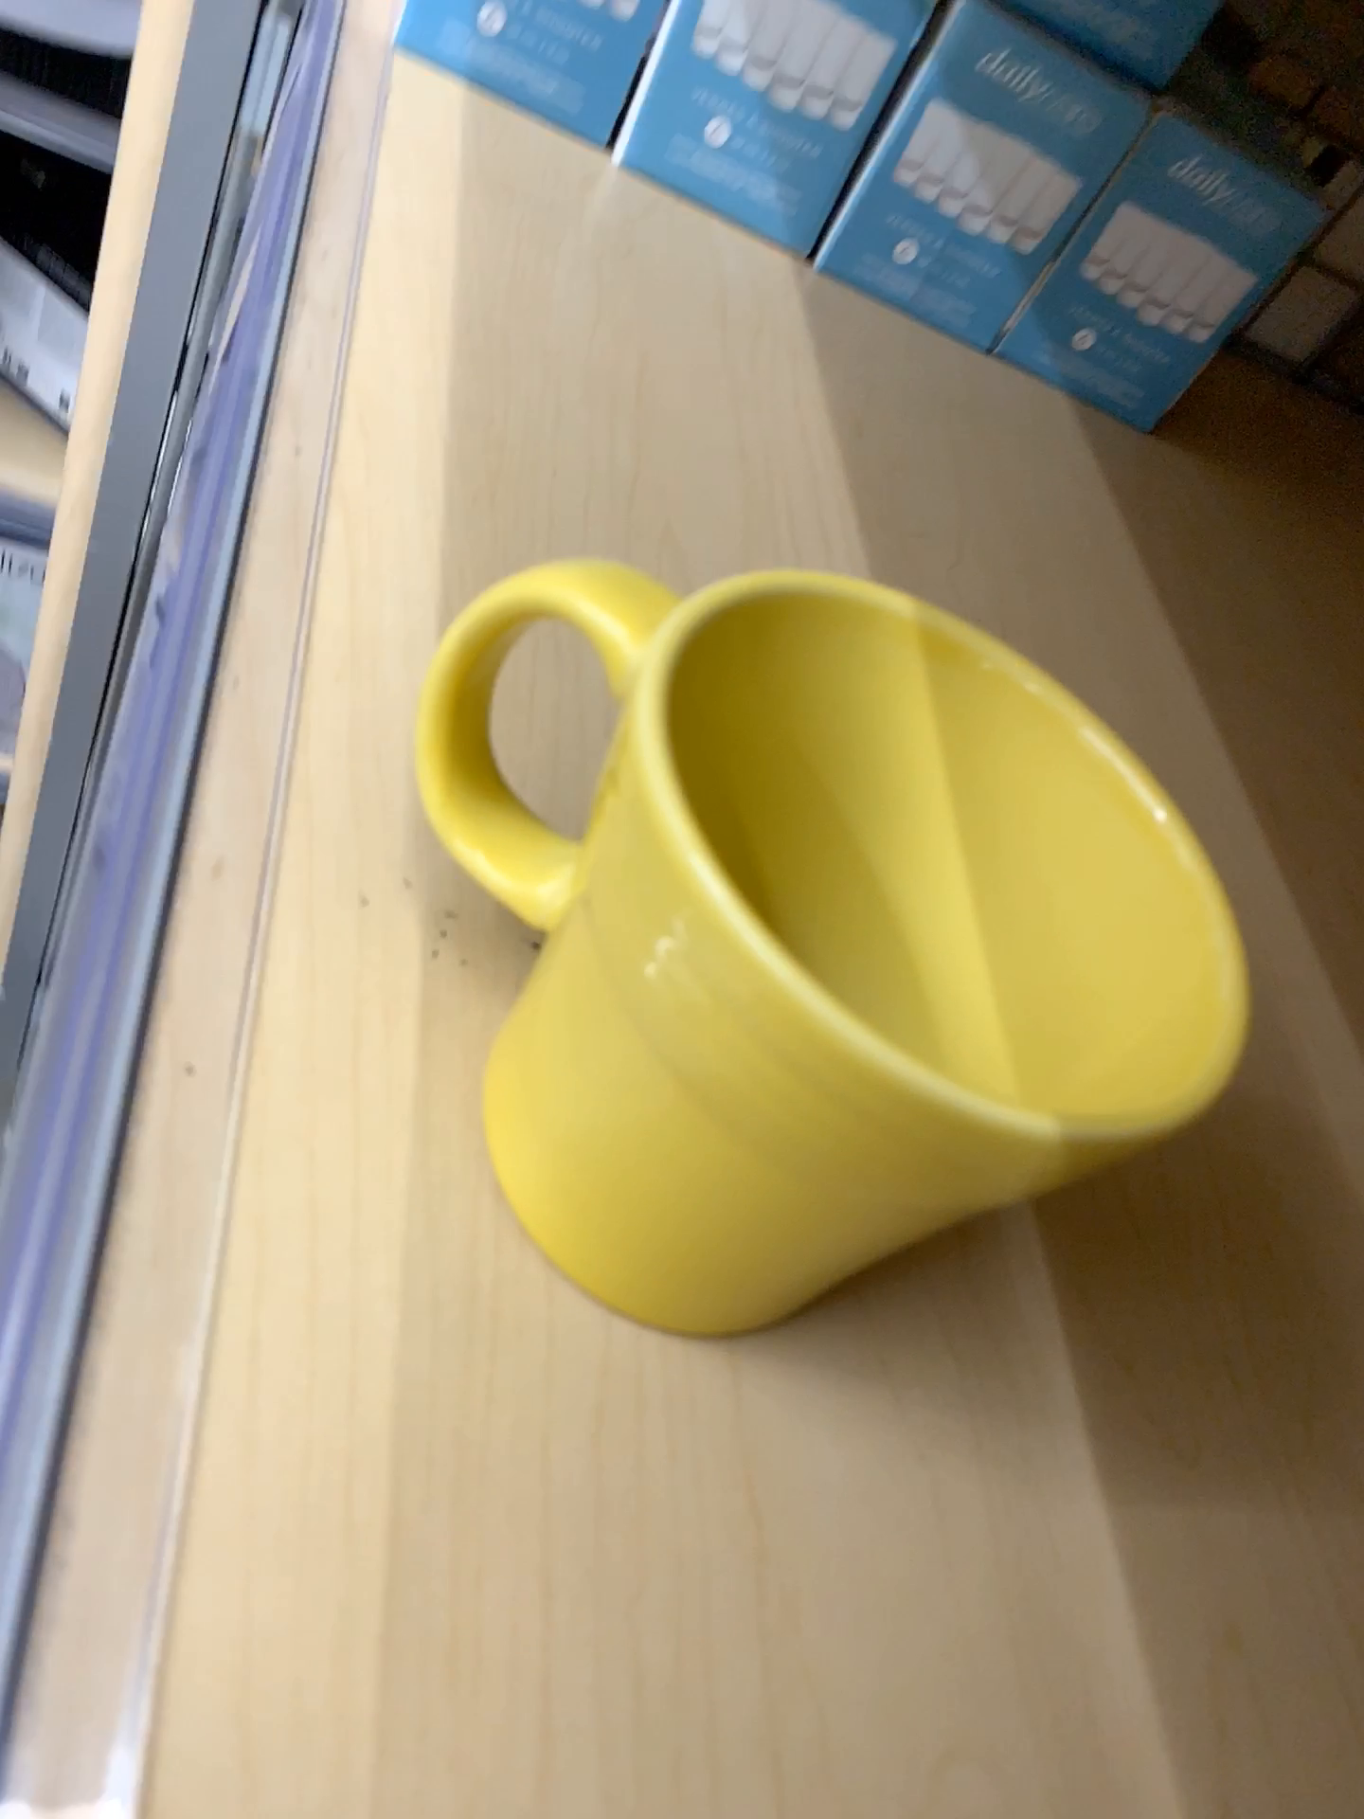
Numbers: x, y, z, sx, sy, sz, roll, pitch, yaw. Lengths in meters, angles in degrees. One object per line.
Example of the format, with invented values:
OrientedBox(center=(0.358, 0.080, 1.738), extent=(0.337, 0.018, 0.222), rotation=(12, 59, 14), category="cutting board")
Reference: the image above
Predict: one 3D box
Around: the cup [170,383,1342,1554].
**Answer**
OrientedBox(center=(0.014, 0.004, 0.230), extent=(0.139, 0.088, 0.104), rotation=(41, 43, 4), category="cup")
